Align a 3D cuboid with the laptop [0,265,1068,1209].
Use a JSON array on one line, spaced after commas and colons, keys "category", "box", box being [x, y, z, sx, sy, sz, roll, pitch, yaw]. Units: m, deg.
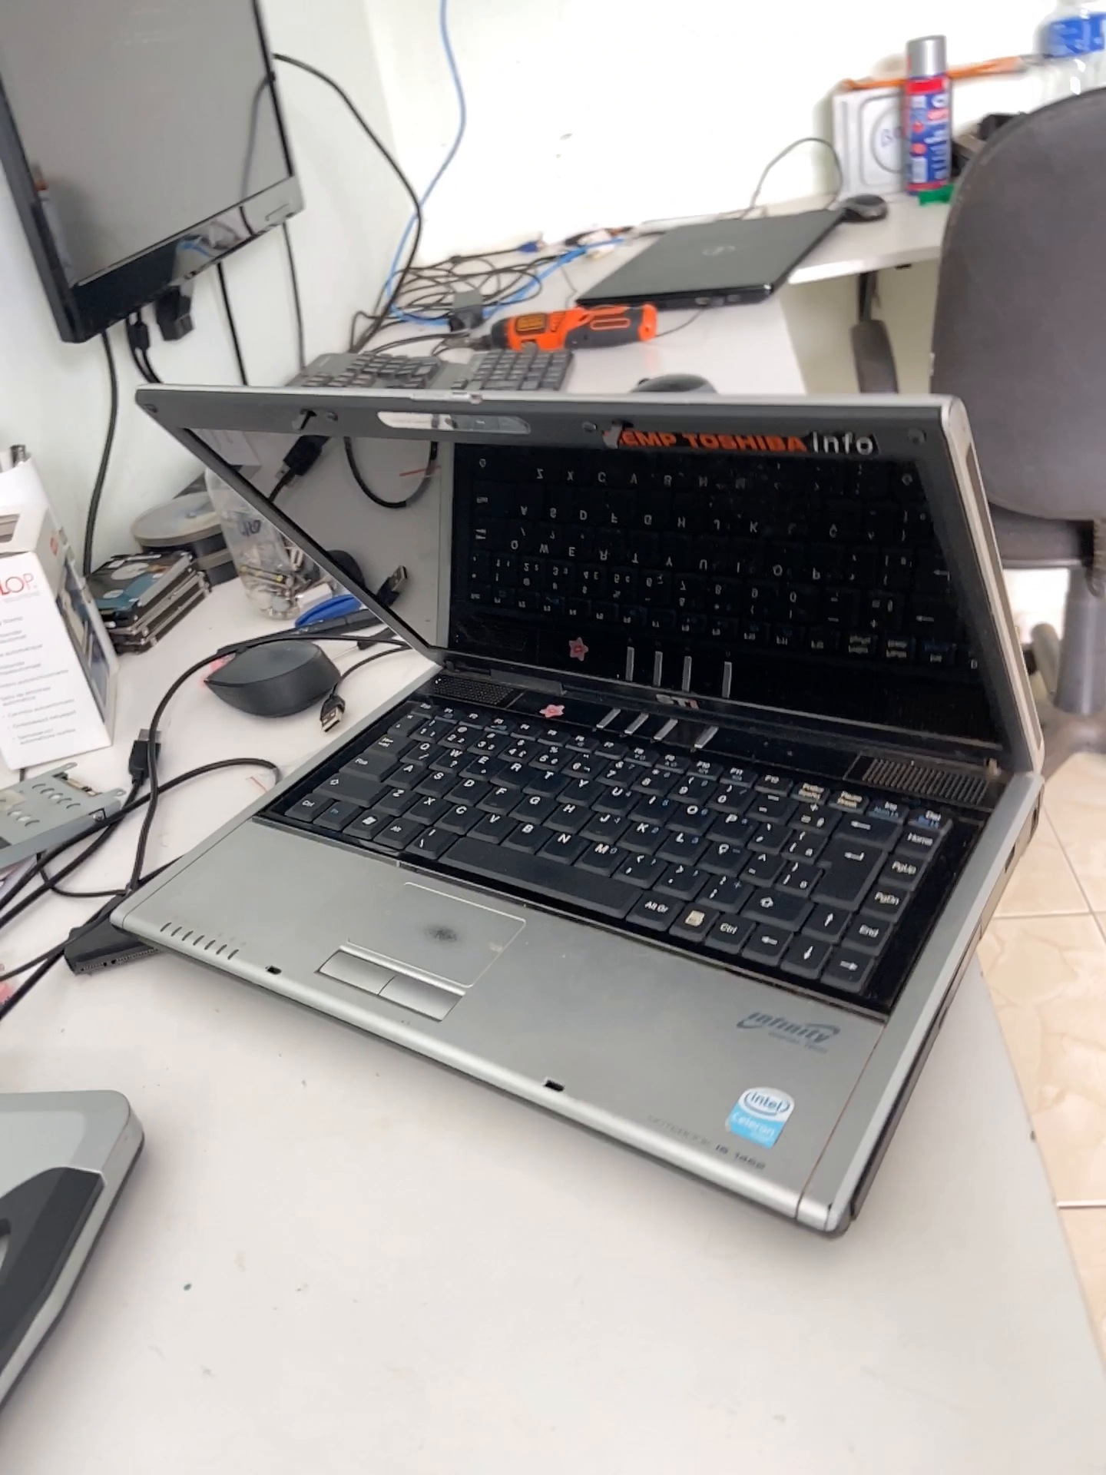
[{"category": "laptop", "box": [-0.013, -0.039, 0.443, 0.338, 0.211, 0.237, 11, 37, 33]}]
